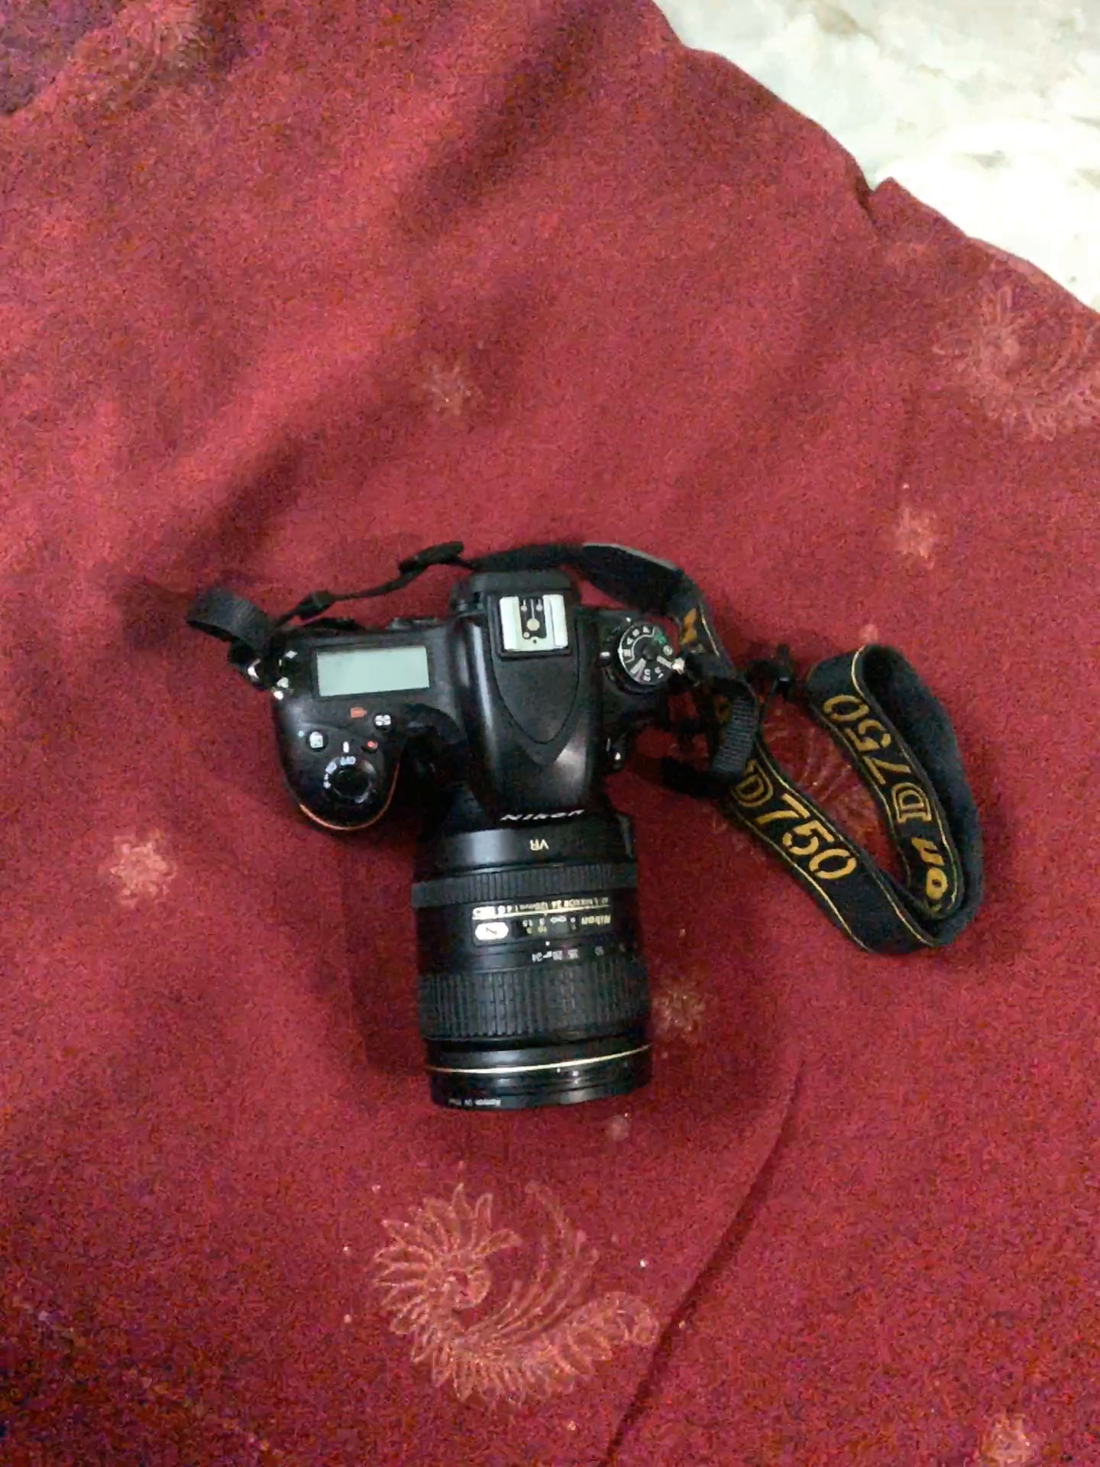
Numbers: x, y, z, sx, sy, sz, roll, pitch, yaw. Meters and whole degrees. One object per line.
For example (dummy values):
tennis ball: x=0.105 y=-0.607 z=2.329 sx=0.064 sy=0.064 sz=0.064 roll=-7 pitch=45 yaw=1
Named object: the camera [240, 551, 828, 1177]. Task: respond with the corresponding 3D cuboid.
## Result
camera: x=-0.013 y=0.039 z=0.363 sx=0.150 sy=0.110 sz=0.160 roll=-3 pitch=80 yaw=-9
